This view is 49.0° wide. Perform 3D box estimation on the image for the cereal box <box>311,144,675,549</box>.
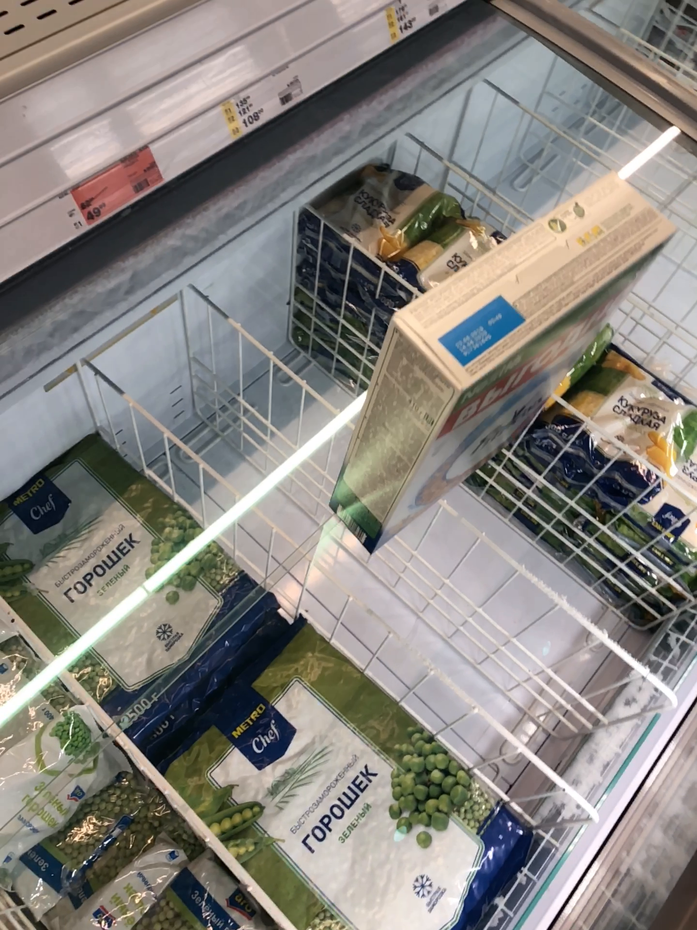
[{"bbox_3d":[0.082,-0.065,0.546,0.201,0.269,0.060,-36,75,-22],"label":"cereal box"}]
